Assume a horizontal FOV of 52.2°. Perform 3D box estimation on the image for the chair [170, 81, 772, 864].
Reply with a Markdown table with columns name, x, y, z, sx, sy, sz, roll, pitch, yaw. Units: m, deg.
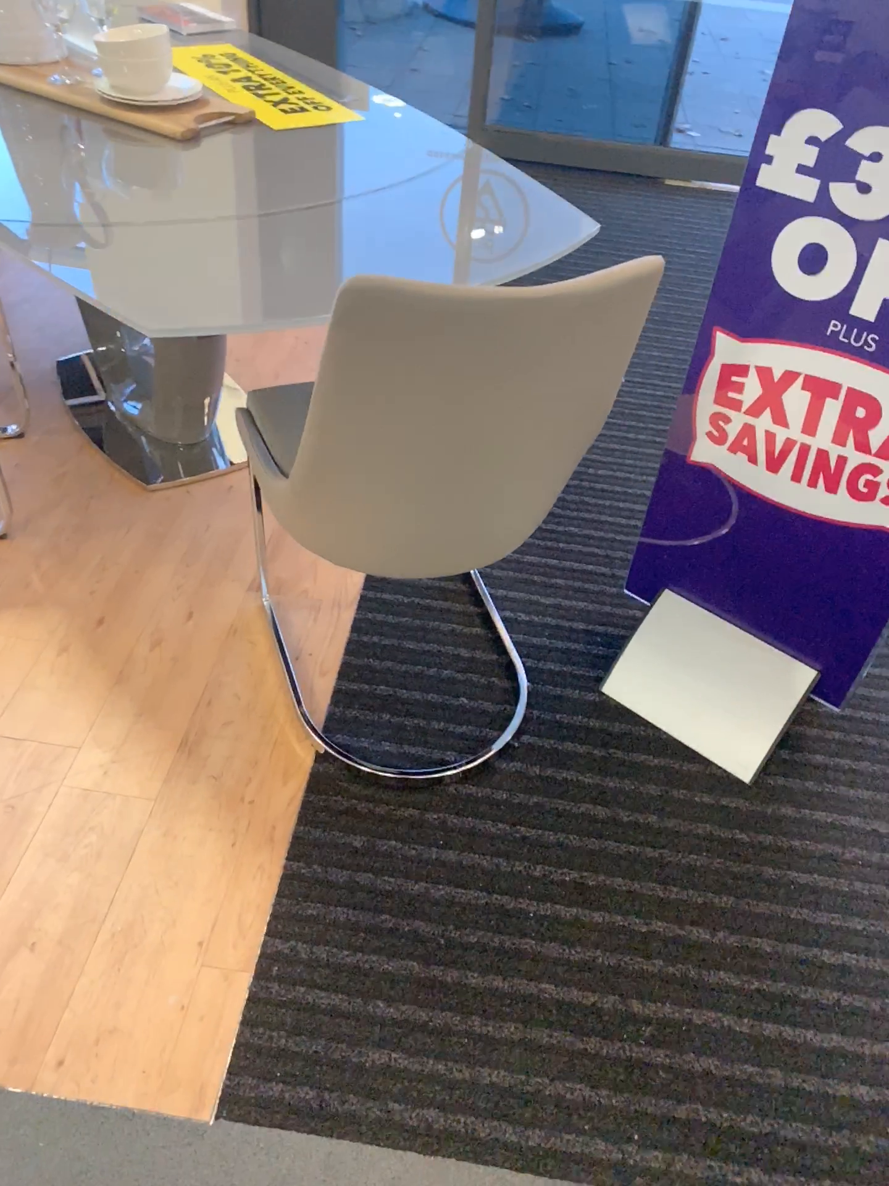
| name | x | y | z | sx | sy | sz | roll | pitch | yaw |
| --- | --- | --- | --- | --- | --- | --- | --- | --- | --- |
| chair | -0.057 | -0.189 | 1.388 | 0.531 | 0.901 | 0.686 | -9 | 44 | -16 |

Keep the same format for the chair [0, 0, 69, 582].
| name | x | y | z | sx | sy | sz | roll | pitch | yaw |
| --- | --- | --- | --- | --- | --- | --- | --- | --- | --- |
| chair | -1.080 | -0.578 | 1.547 | 0.620 | 0.931 | 0.545 | -6 | 43 | -13 |
